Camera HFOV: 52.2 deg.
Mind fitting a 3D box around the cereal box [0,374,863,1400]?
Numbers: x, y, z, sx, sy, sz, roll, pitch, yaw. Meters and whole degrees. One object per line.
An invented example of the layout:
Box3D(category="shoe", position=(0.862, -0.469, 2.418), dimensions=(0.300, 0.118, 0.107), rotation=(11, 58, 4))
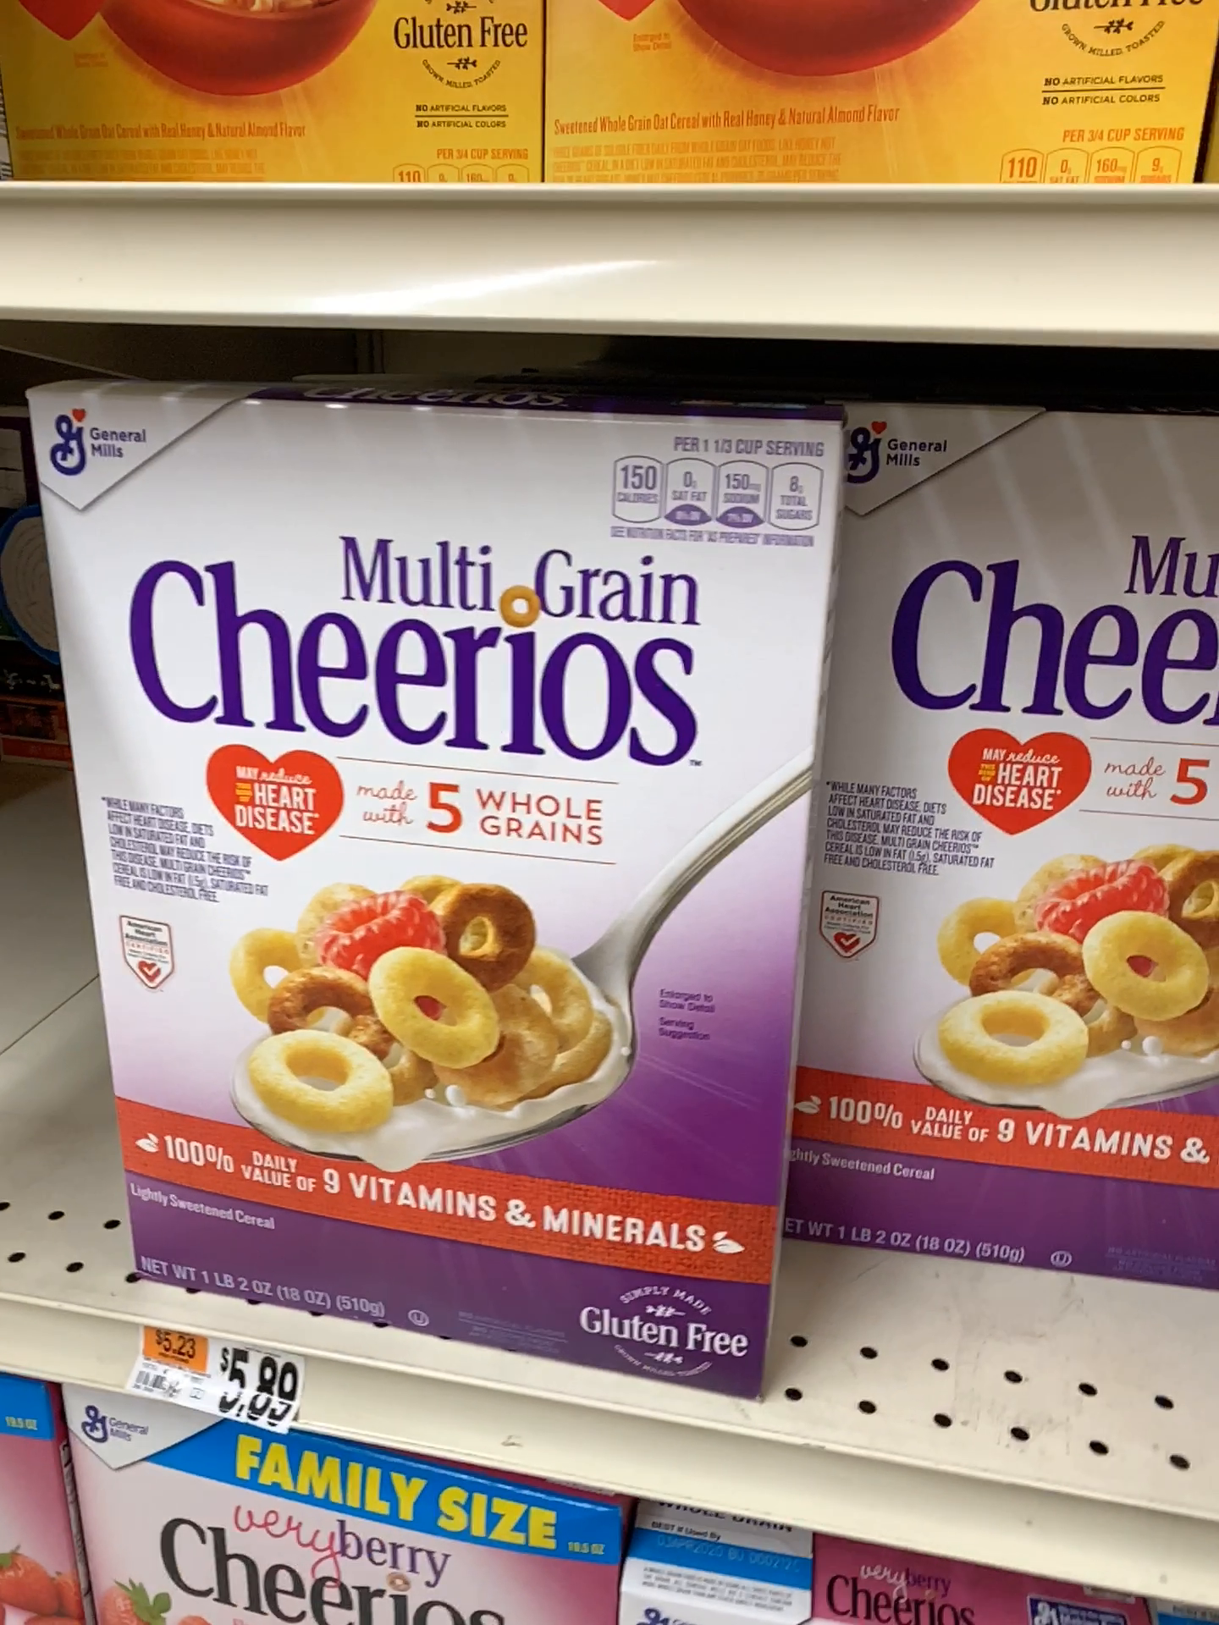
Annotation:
Box3D(category="cereal box", position=(-0.057, 0.023, 0.425), dimensions=(0.250, 0.319, 0.070), rotation=(6, 19, 12))
